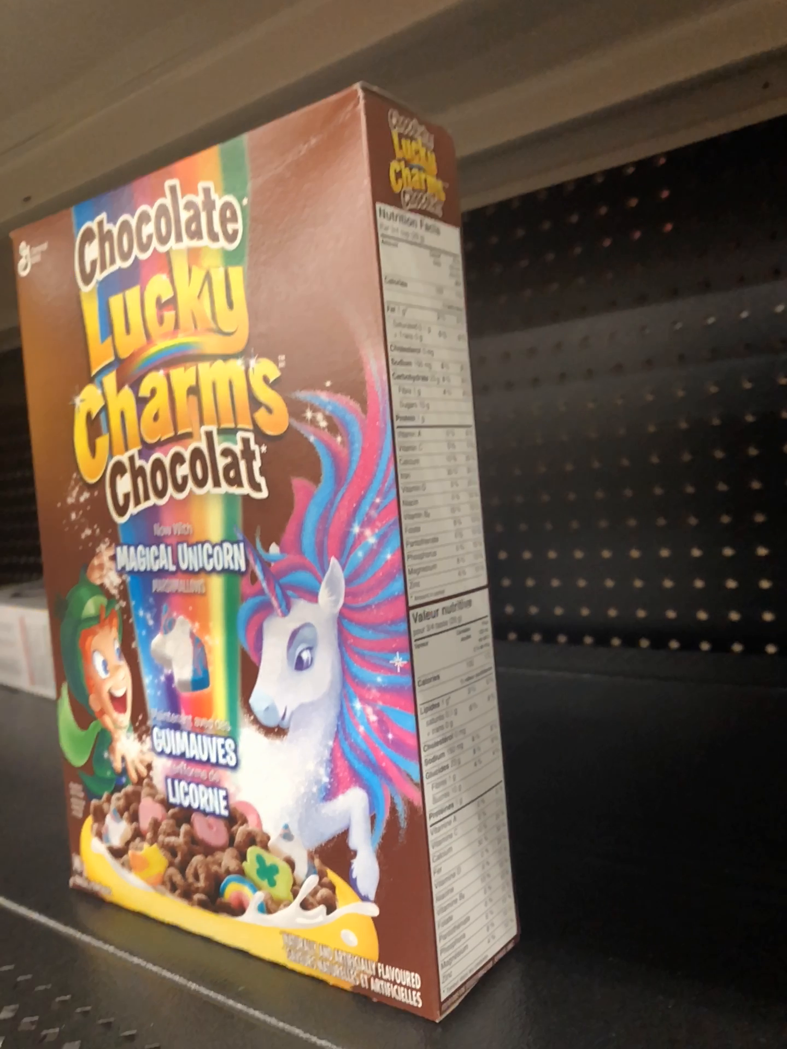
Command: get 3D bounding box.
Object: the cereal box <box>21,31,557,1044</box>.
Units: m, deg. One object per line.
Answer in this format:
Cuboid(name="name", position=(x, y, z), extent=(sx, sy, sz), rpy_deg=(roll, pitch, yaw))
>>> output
Cuboid(name="cereal box", position=(-0.051, 0.006, 0.335), extent=(0.200, 0.290, 0.060), rpy_deg=(-3, 2, 39))
